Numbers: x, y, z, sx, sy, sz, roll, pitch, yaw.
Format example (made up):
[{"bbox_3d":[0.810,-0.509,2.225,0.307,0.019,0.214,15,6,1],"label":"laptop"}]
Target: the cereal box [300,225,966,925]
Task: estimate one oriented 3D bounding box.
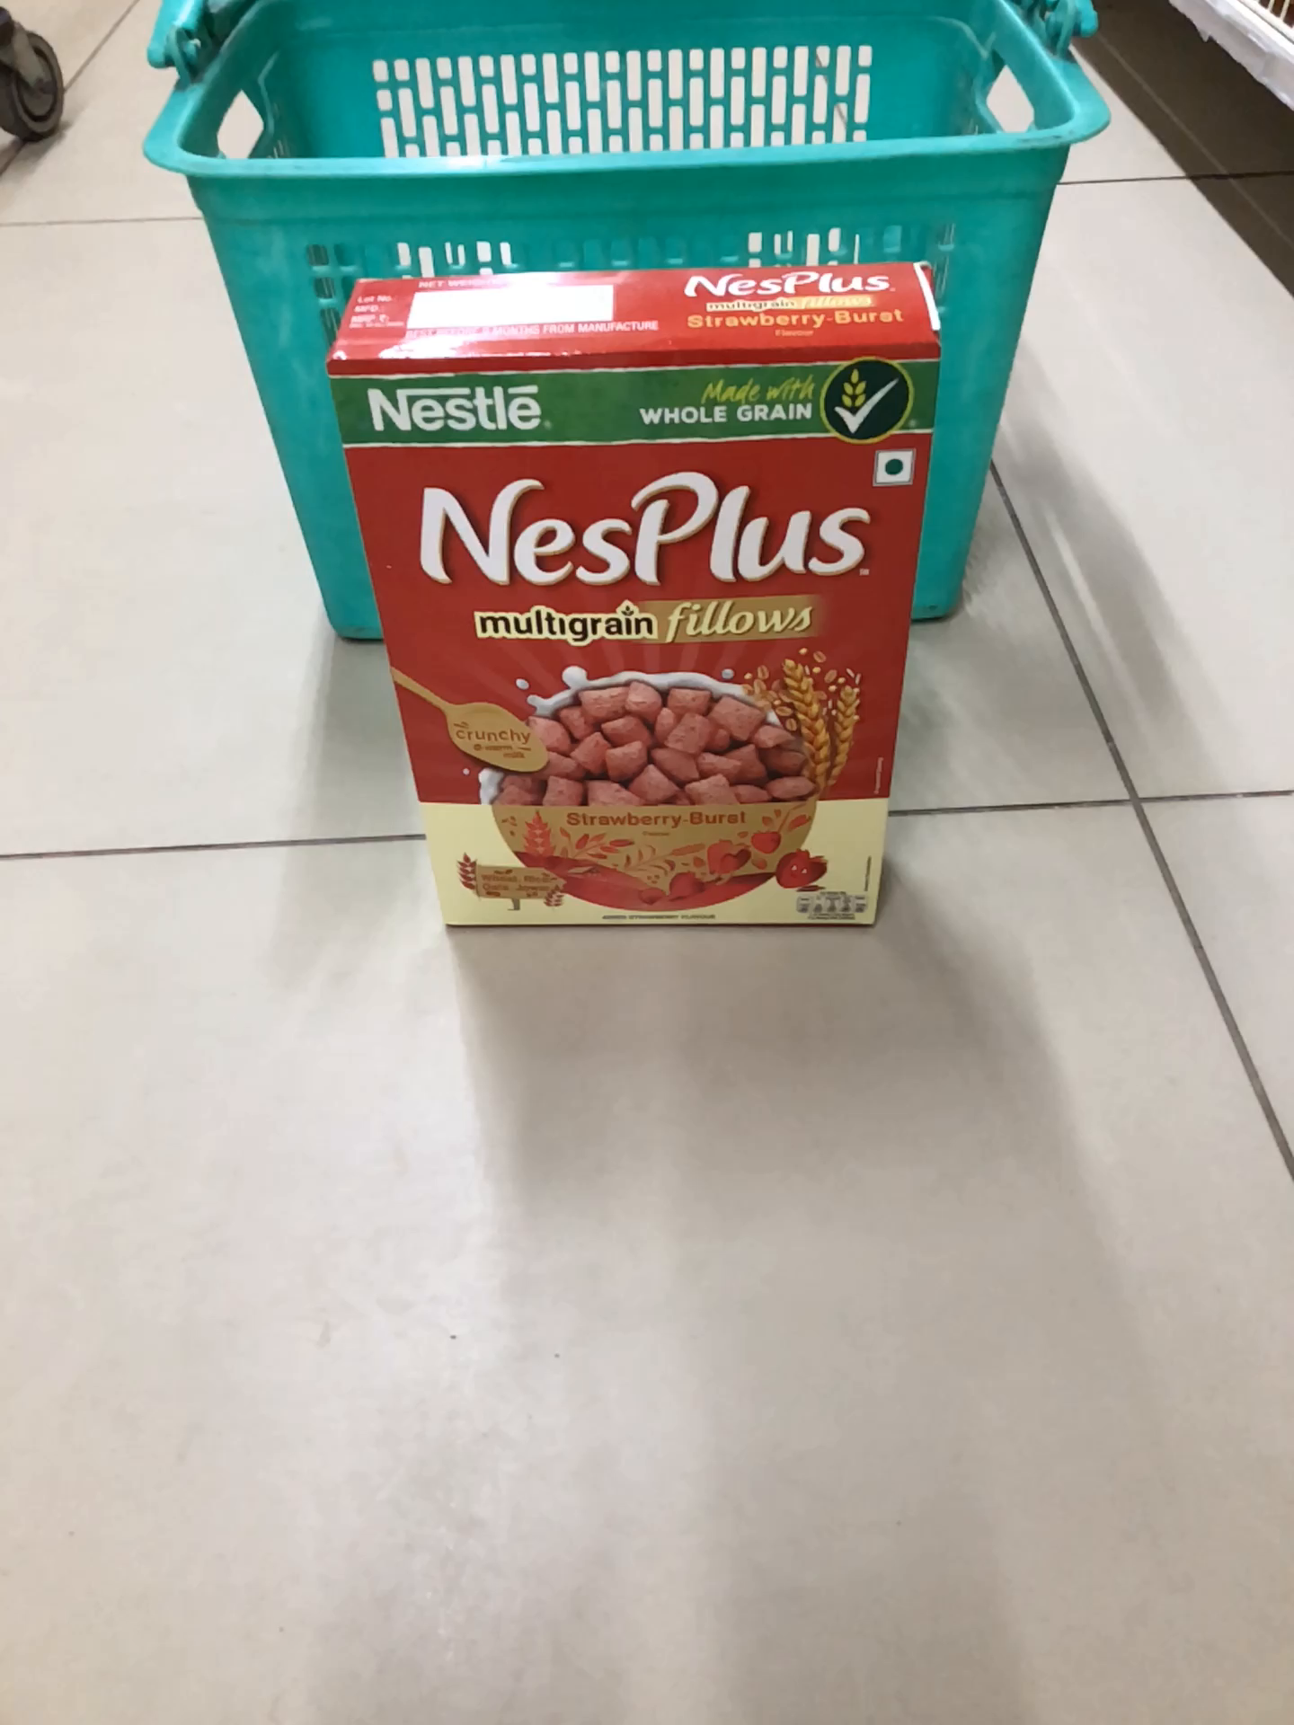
[{"bbox_3d":[0.000,-0.087,0.518,0.190,0.258,0.060,0,45,2],"label":"cereal box"}]
